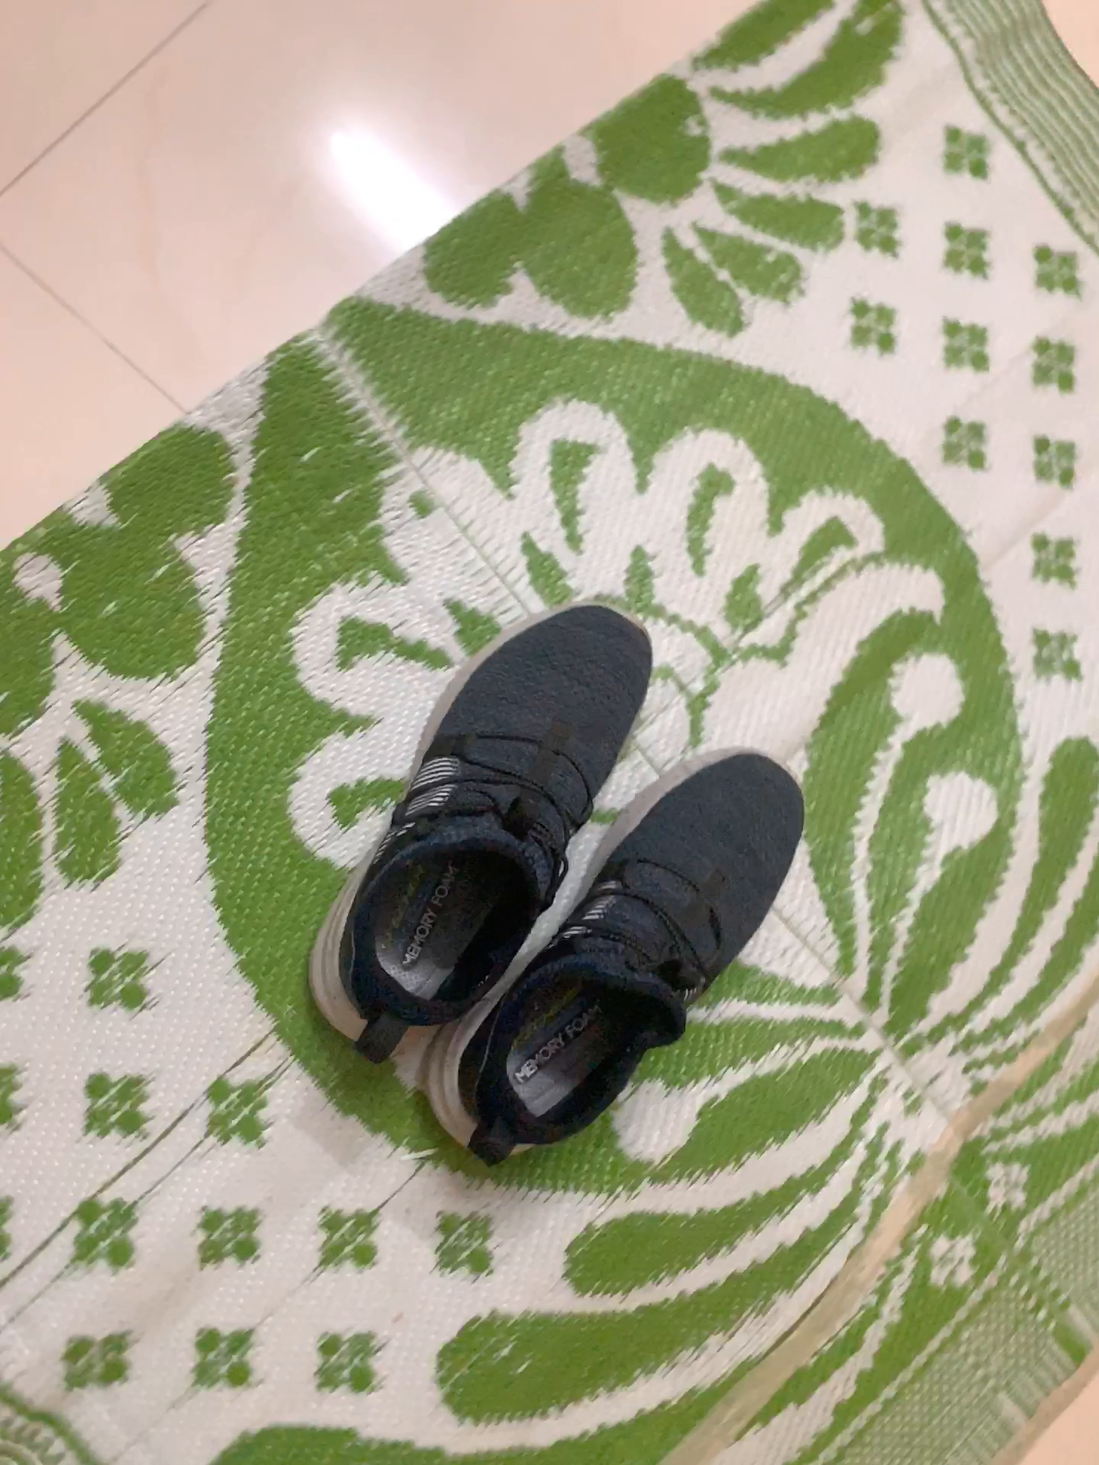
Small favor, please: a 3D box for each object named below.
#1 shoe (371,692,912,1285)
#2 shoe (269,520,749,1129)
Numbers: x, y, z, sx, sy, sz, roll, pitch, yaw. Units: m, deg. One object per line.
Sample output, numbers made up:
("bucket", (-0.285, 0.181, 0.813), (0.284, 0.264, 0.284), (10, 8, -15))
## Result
("shoe", (0.048, 0.128, 0.623), (0.110, 0.100, 0.300), (43, 80, -8))
("shoe", (-0.025, 0.044, 0.612), (0.110, 0.100, 0.290), (32, 81, -10))
